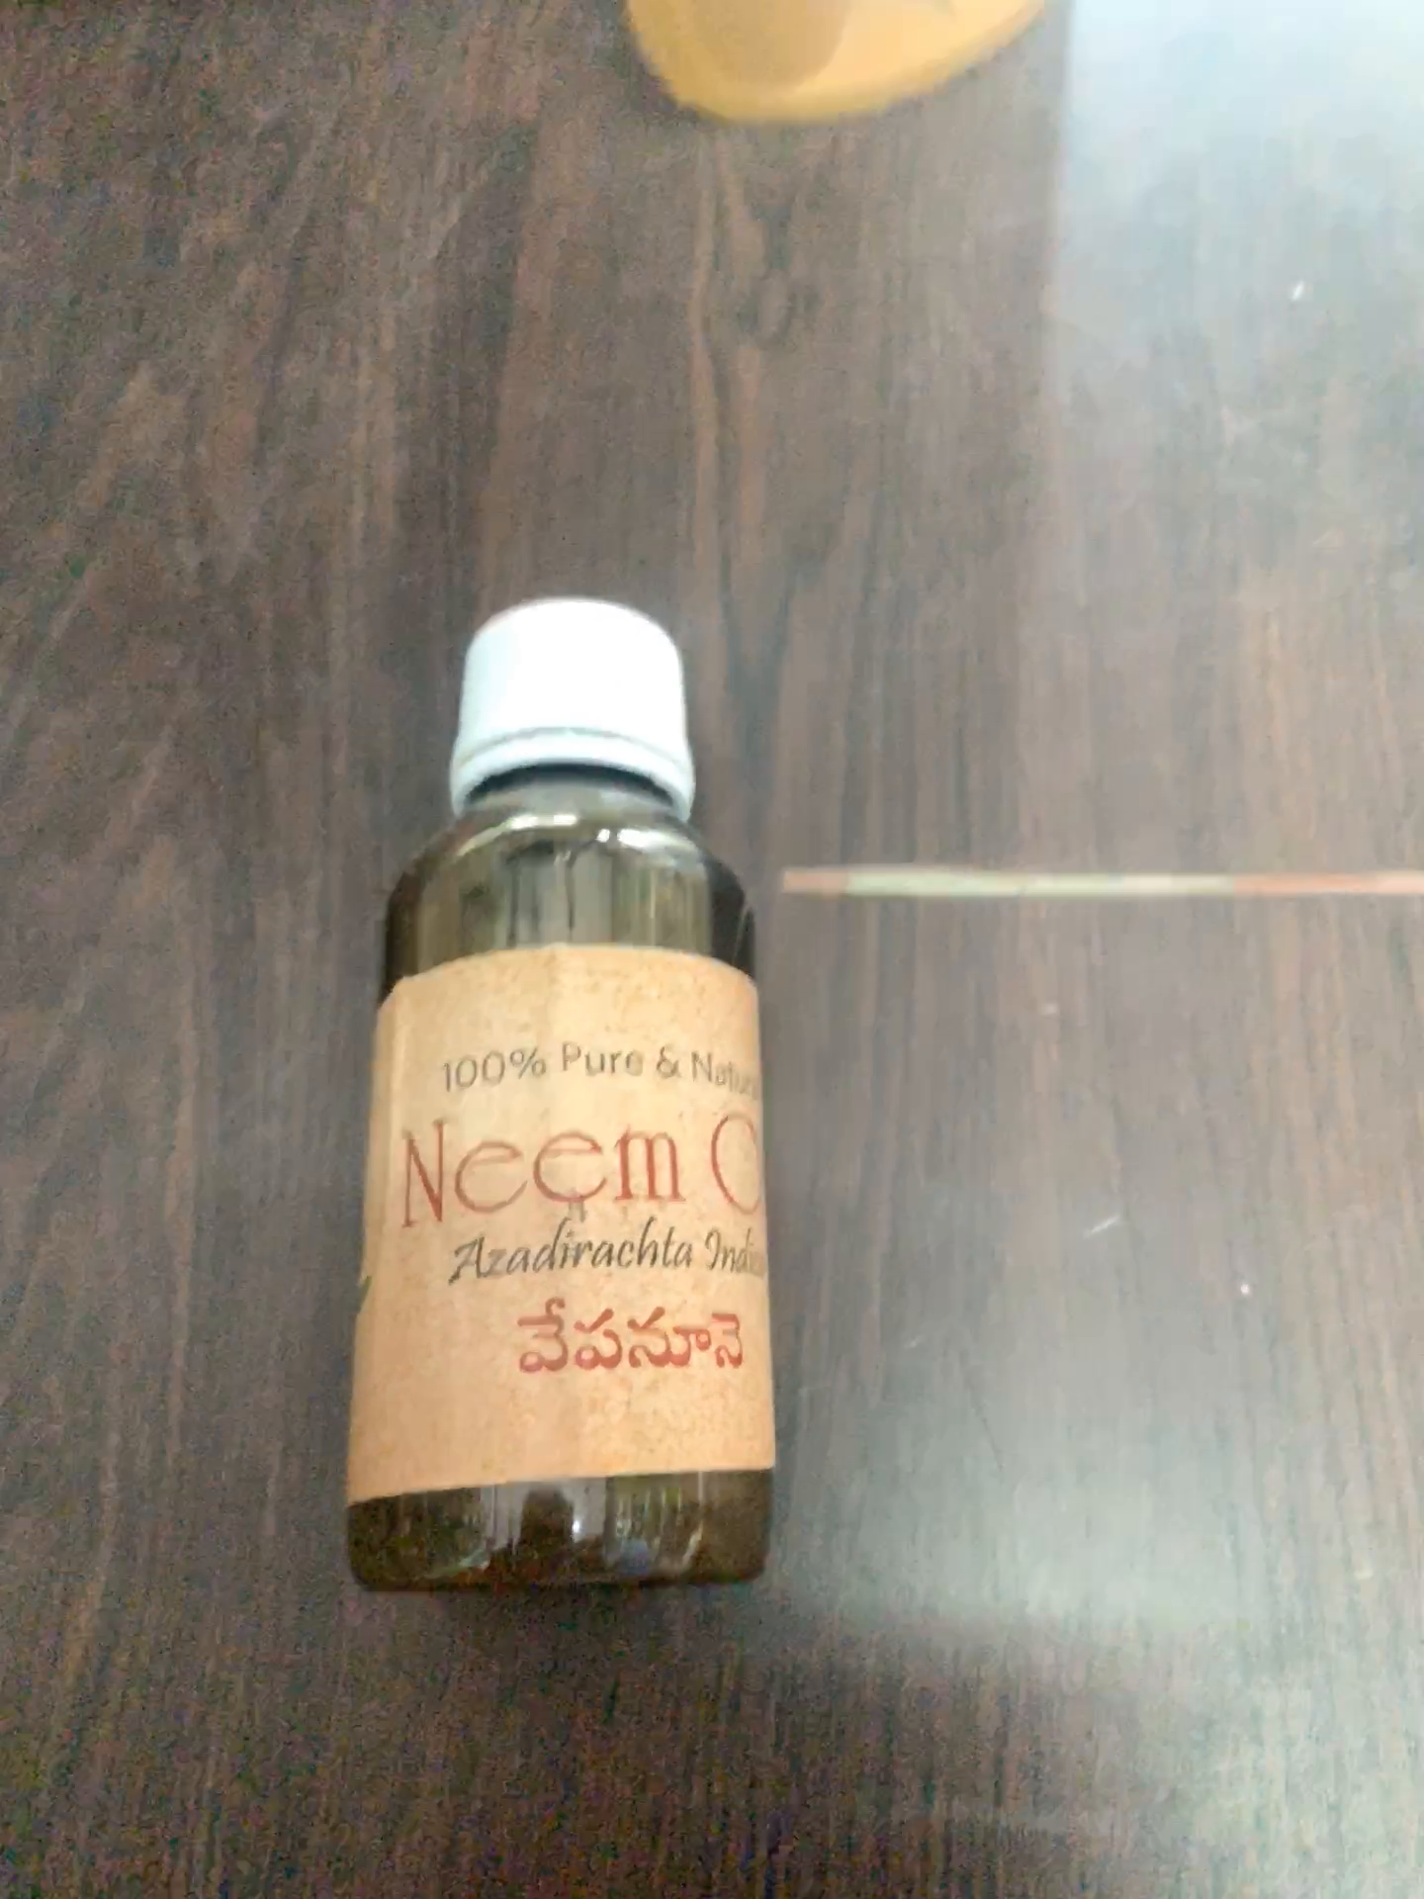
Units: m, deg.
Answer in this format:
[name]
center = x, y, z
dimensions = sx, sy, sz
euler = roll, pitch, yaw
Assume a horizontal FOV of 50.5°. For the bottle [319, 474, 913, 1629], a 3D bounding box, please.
[bottle]
center = -0.015, 0.011, 0.173
dimensions = 0.050, 0.040, 0.120
euler = 5, 66, -18
